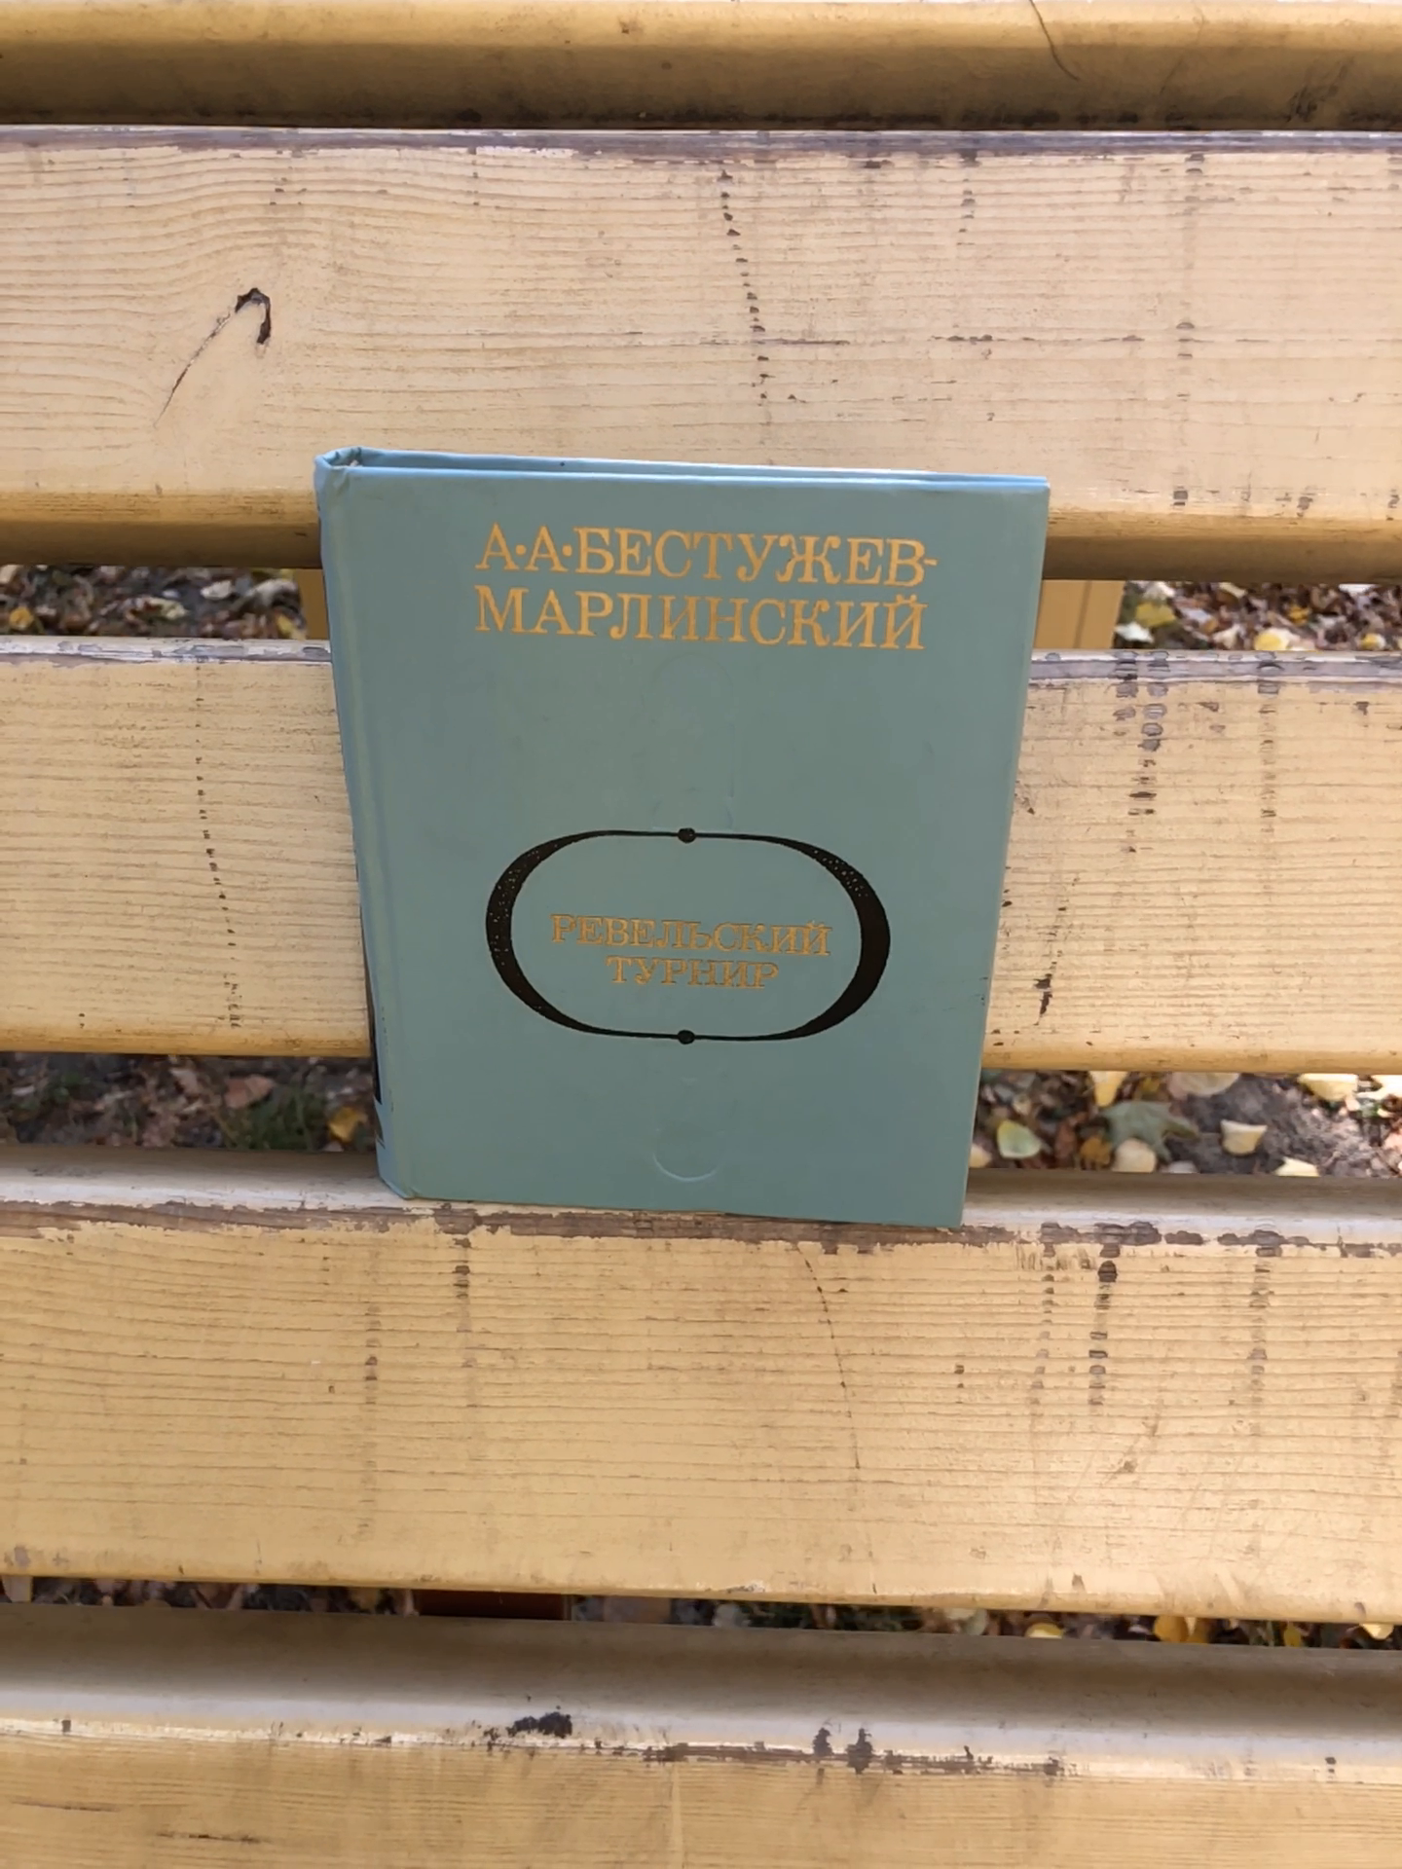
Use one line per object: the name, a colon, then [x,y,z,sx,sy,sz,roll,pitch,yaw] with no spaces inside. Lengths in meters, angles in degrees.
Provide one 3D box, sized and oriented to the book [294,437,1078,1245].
book: [-0.002,-0.013,0.325,0.140,0.169,0.022,3,30,7]
